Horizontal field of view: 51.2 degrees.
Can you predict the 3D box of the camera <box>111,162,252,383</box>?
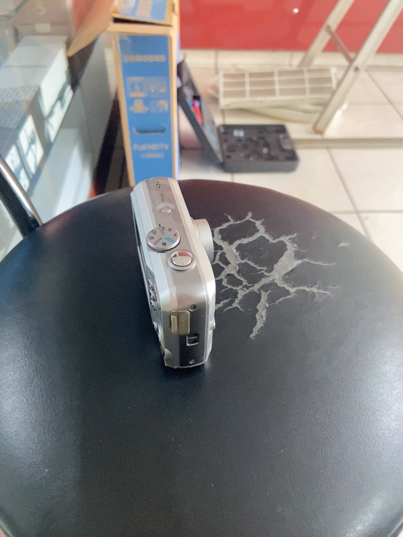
[{"bbox_3d":[-0.015,-0.002,0.227,0.050,0.060,0.101,-9,47,-10],"label":"camera"}]
